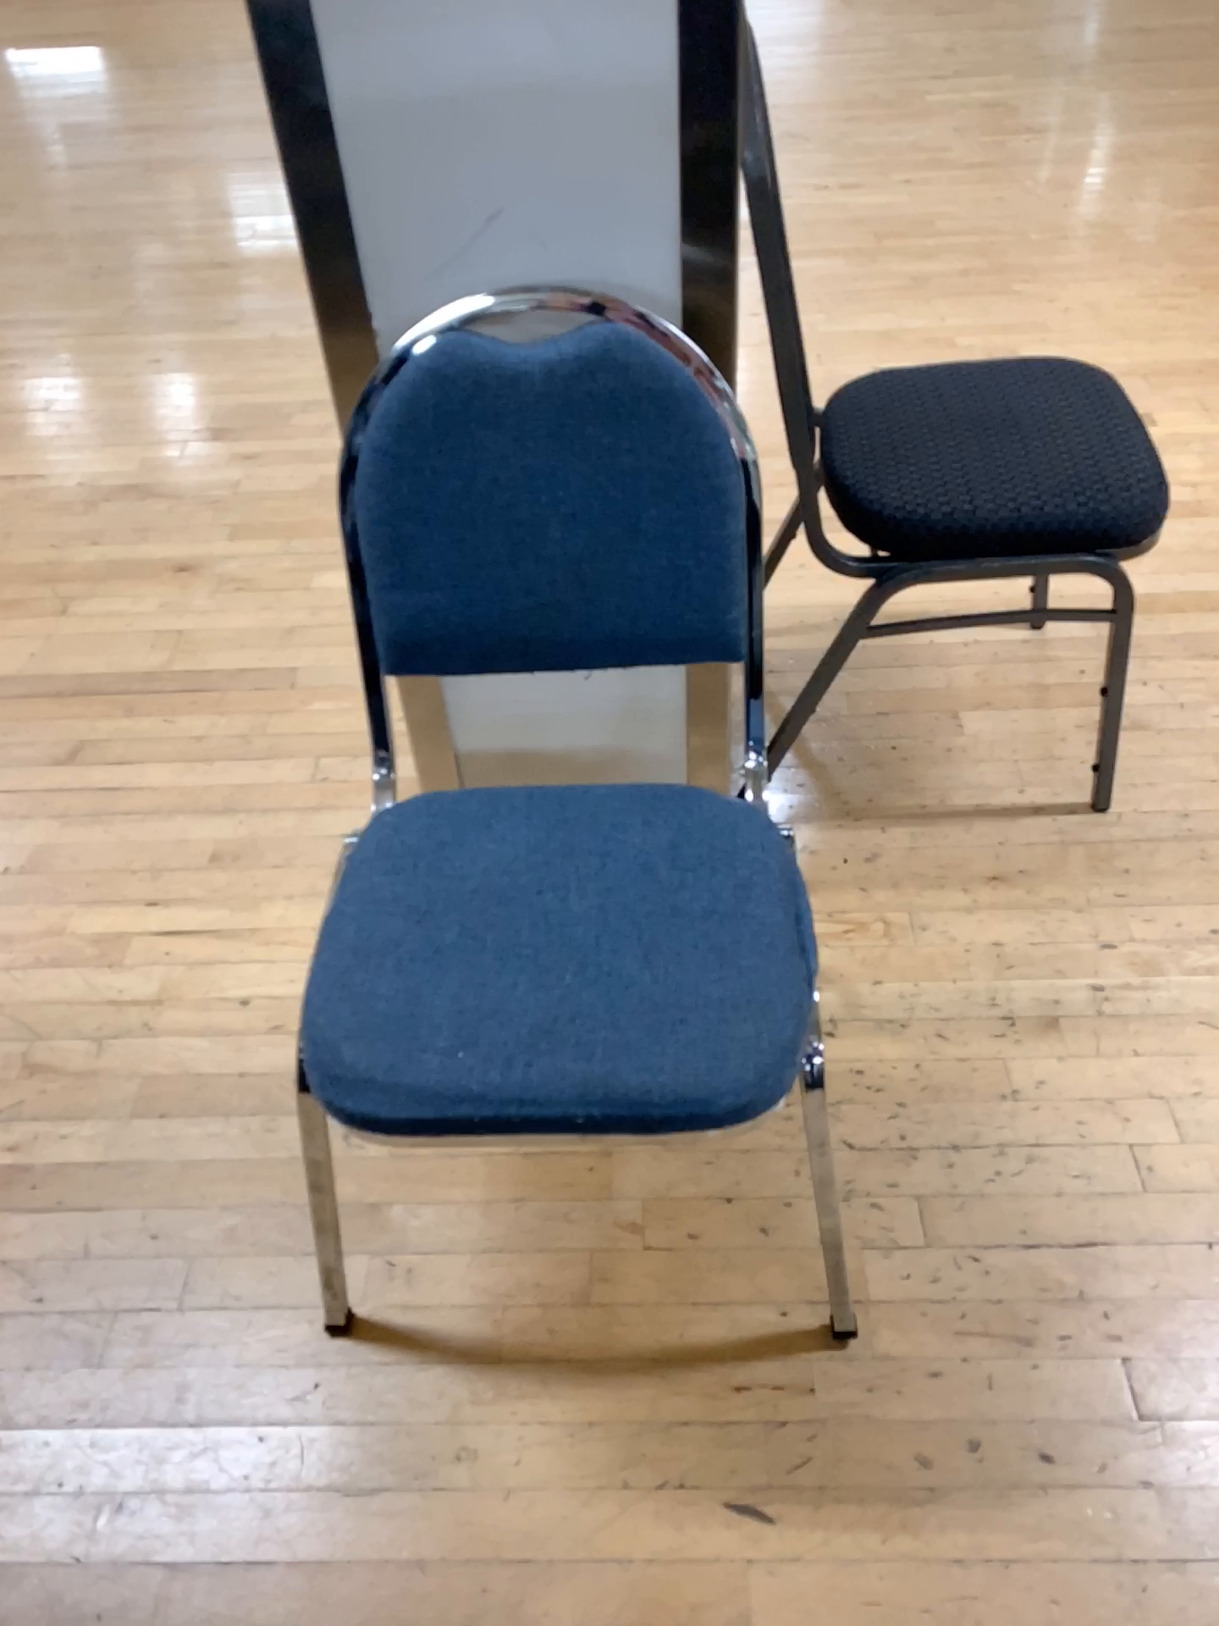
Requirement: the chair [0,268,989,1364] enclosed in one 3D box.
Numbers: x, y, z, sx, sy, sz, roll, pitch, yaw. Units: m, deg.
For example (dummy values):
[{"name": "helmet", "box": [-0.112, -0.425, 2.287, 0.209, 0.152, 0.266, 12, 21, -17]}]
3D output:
[{"name": "chair", "box": [-0.044, 0.056, 1.162, 0.548, 0.888, 0.556, -1, 45, 4]}]
